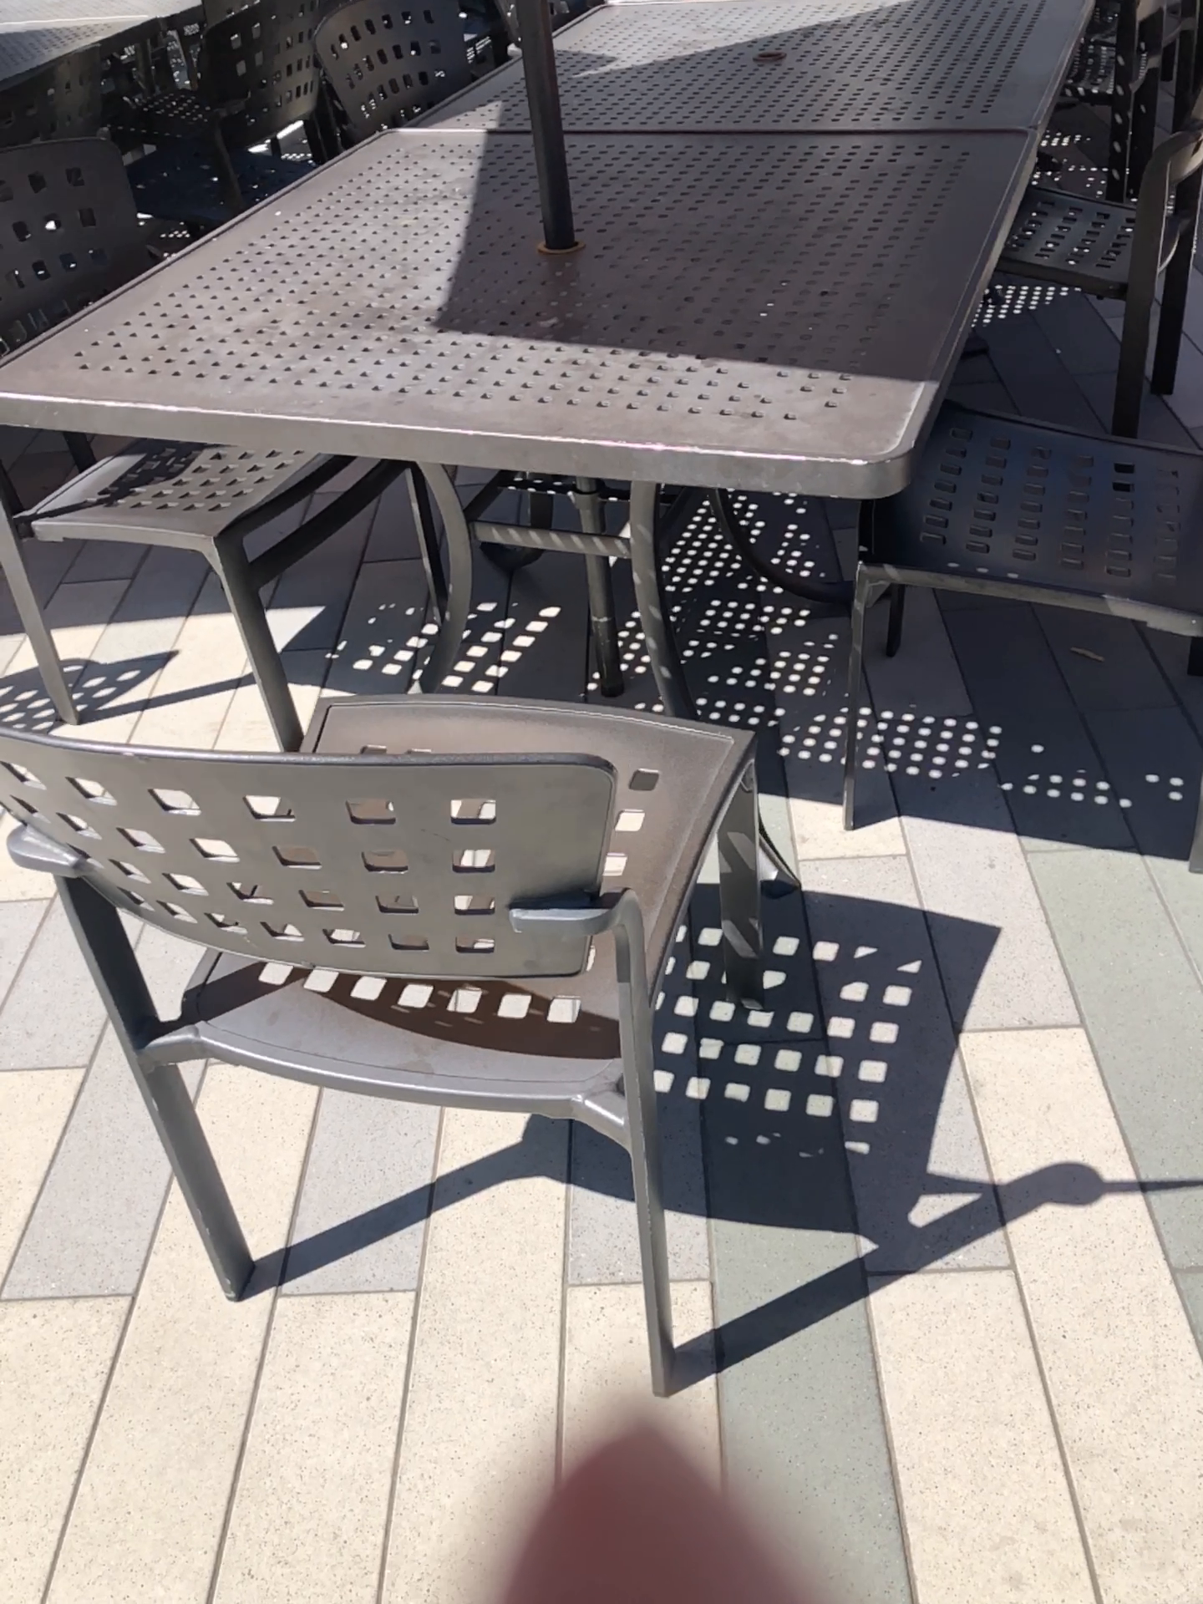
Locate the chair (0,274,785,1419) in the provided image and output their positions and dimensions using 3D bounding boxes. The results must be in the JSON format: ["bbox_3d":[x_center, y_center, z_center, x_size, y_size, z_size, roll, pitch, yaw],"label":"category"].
[{"bbox_3d":[-0.146,0.047,1.111,0.521,0.756,0.532,5,45,14],"label":"chair"}]
